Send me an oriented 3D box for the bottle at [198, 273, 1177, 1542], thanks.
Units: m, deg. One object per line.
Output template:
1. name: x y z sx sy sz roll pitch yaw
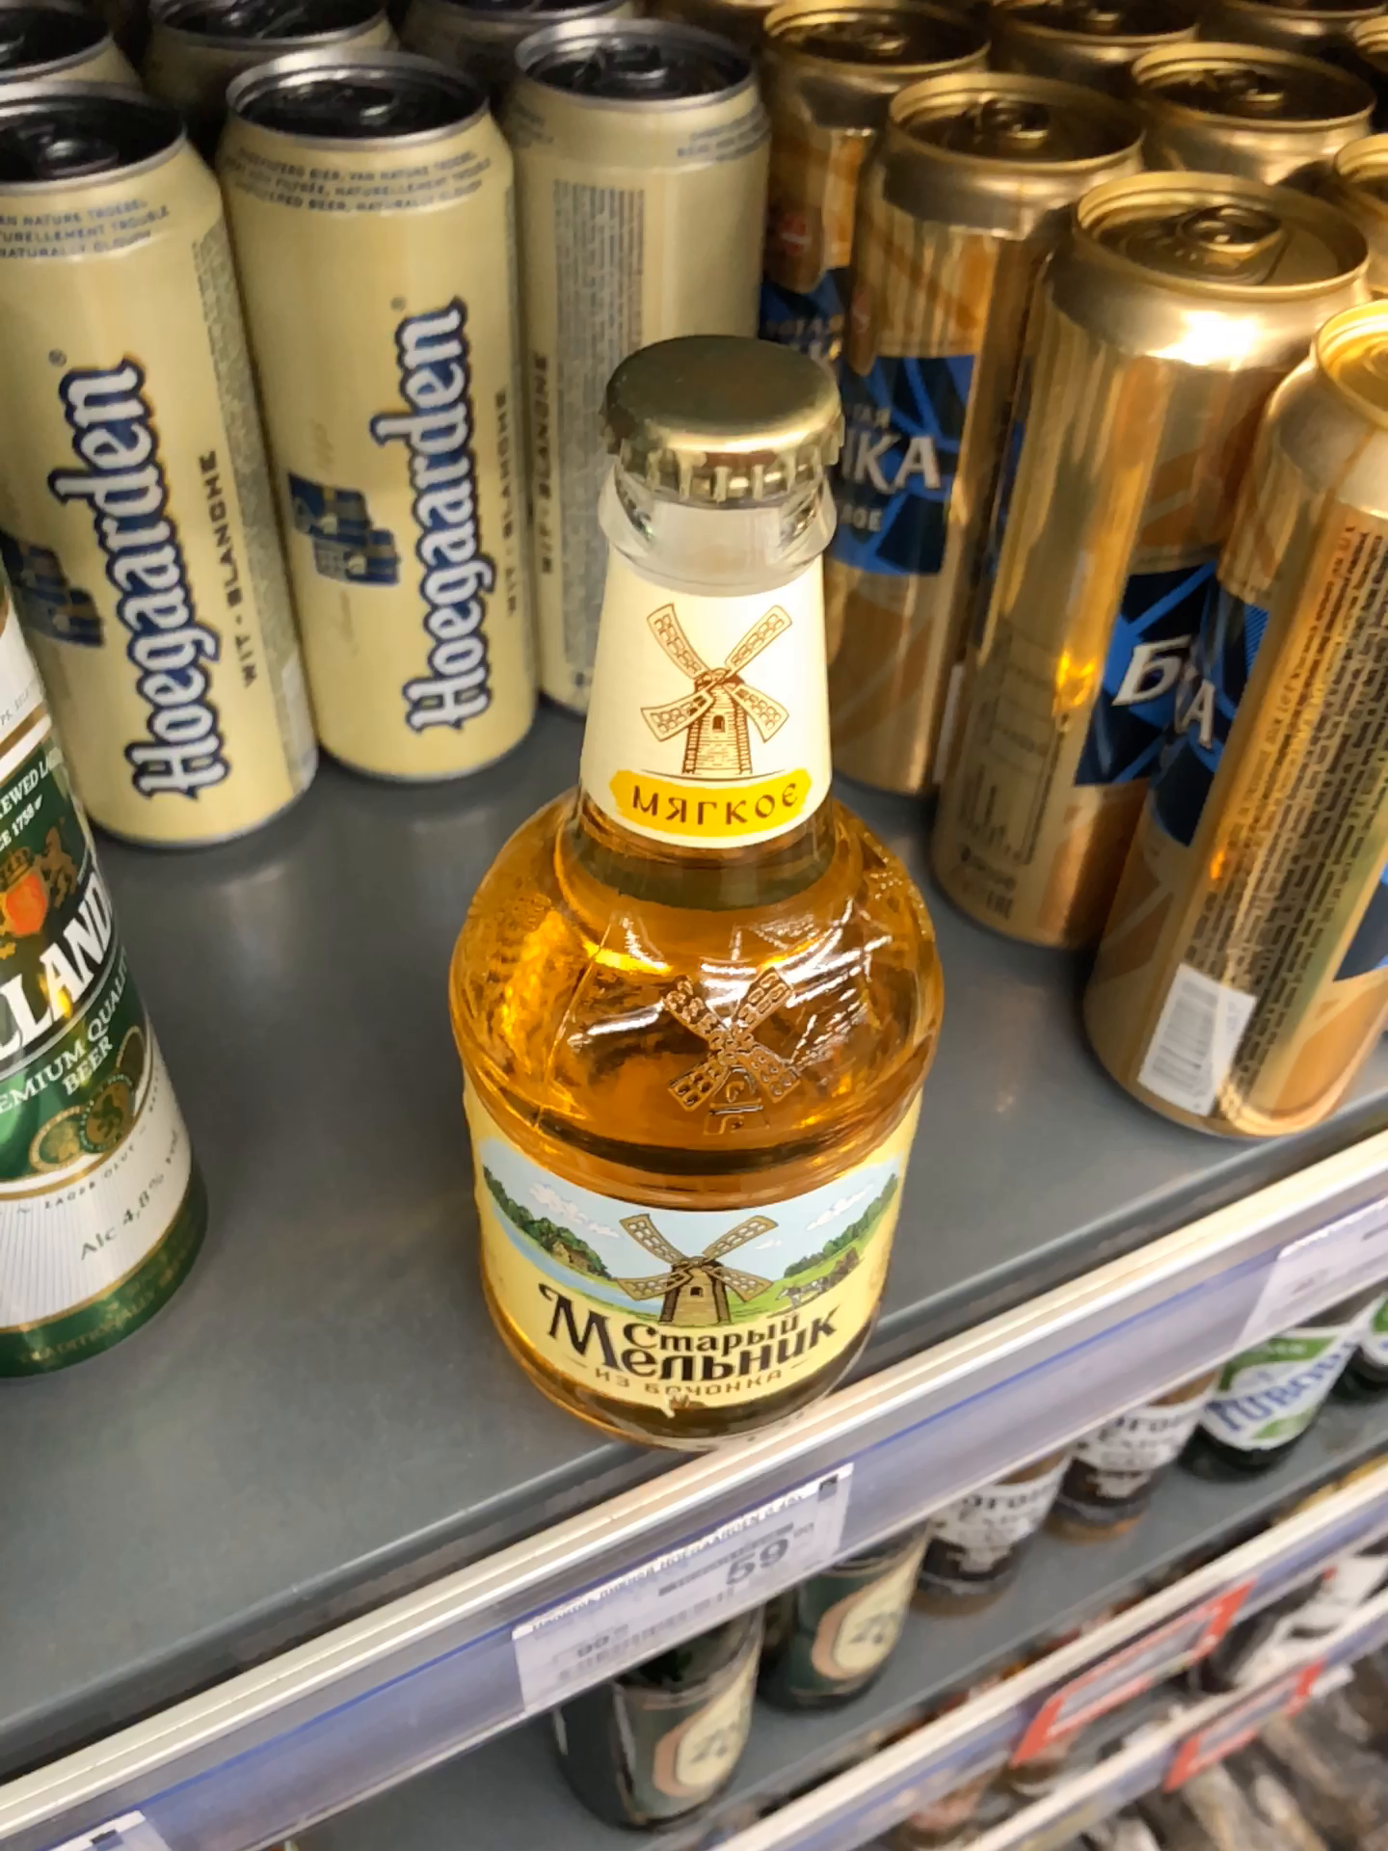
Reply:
1. bottle: -0.007 0.013 0.239 0.090 0.192 0.080 -2 46 -5
